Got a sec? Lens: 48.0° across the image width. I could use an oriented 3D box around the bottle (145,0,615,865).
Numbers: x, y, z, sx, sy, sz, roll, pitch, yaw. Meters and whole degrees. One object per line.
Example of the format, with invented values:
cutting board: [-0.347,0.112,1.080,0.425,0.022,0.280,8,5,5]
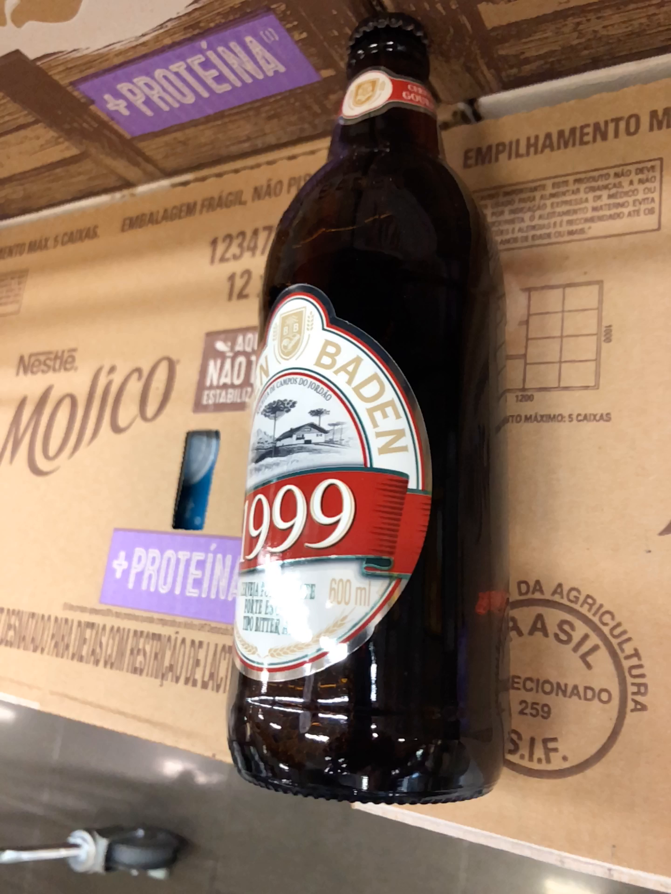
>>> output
bottle: [0.024,-0.041,0.240,0.090,0.100,0.280,-7,71,29]
